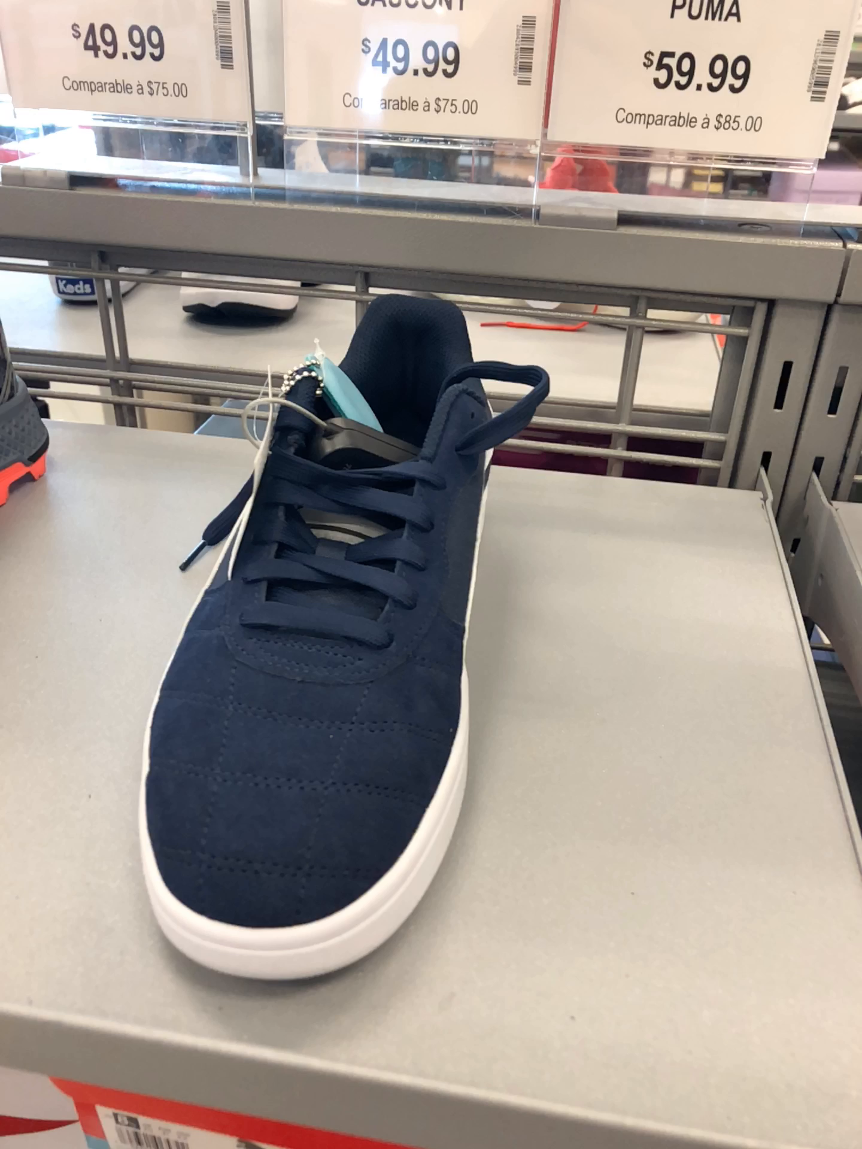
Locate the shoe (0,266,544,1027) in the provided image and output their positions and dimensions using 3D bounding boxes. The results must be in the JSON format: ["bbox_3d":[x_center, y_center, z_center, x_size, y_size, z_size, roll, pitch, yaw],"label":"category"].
[{"bbox_3d":[-0.033,-0.008,0.312,0.119,0.119,0.242,6,31,6],"label":"shoe"}]
